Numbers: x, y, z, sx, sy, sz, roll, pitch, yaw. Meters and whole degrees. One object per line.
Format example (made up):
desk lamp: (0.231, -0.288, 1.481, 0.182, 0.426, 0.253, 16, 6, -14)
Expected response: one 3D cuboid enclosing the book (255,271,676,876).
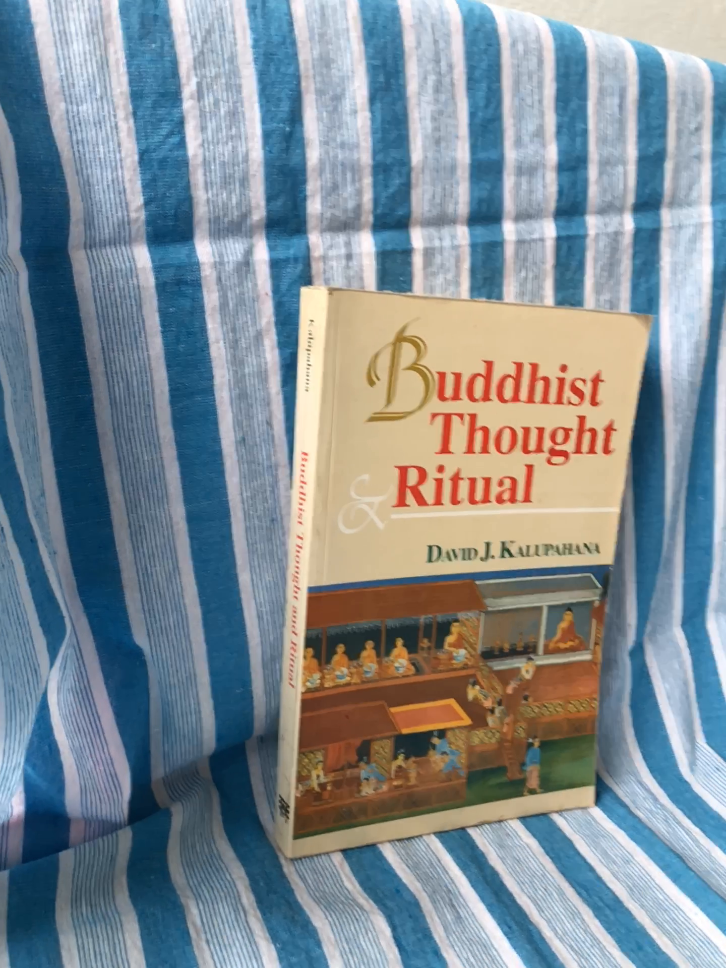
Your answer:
book: (0.039, 0.037, 0.317, 0.150, 0.219, 0.020, 0, 13, -23)
